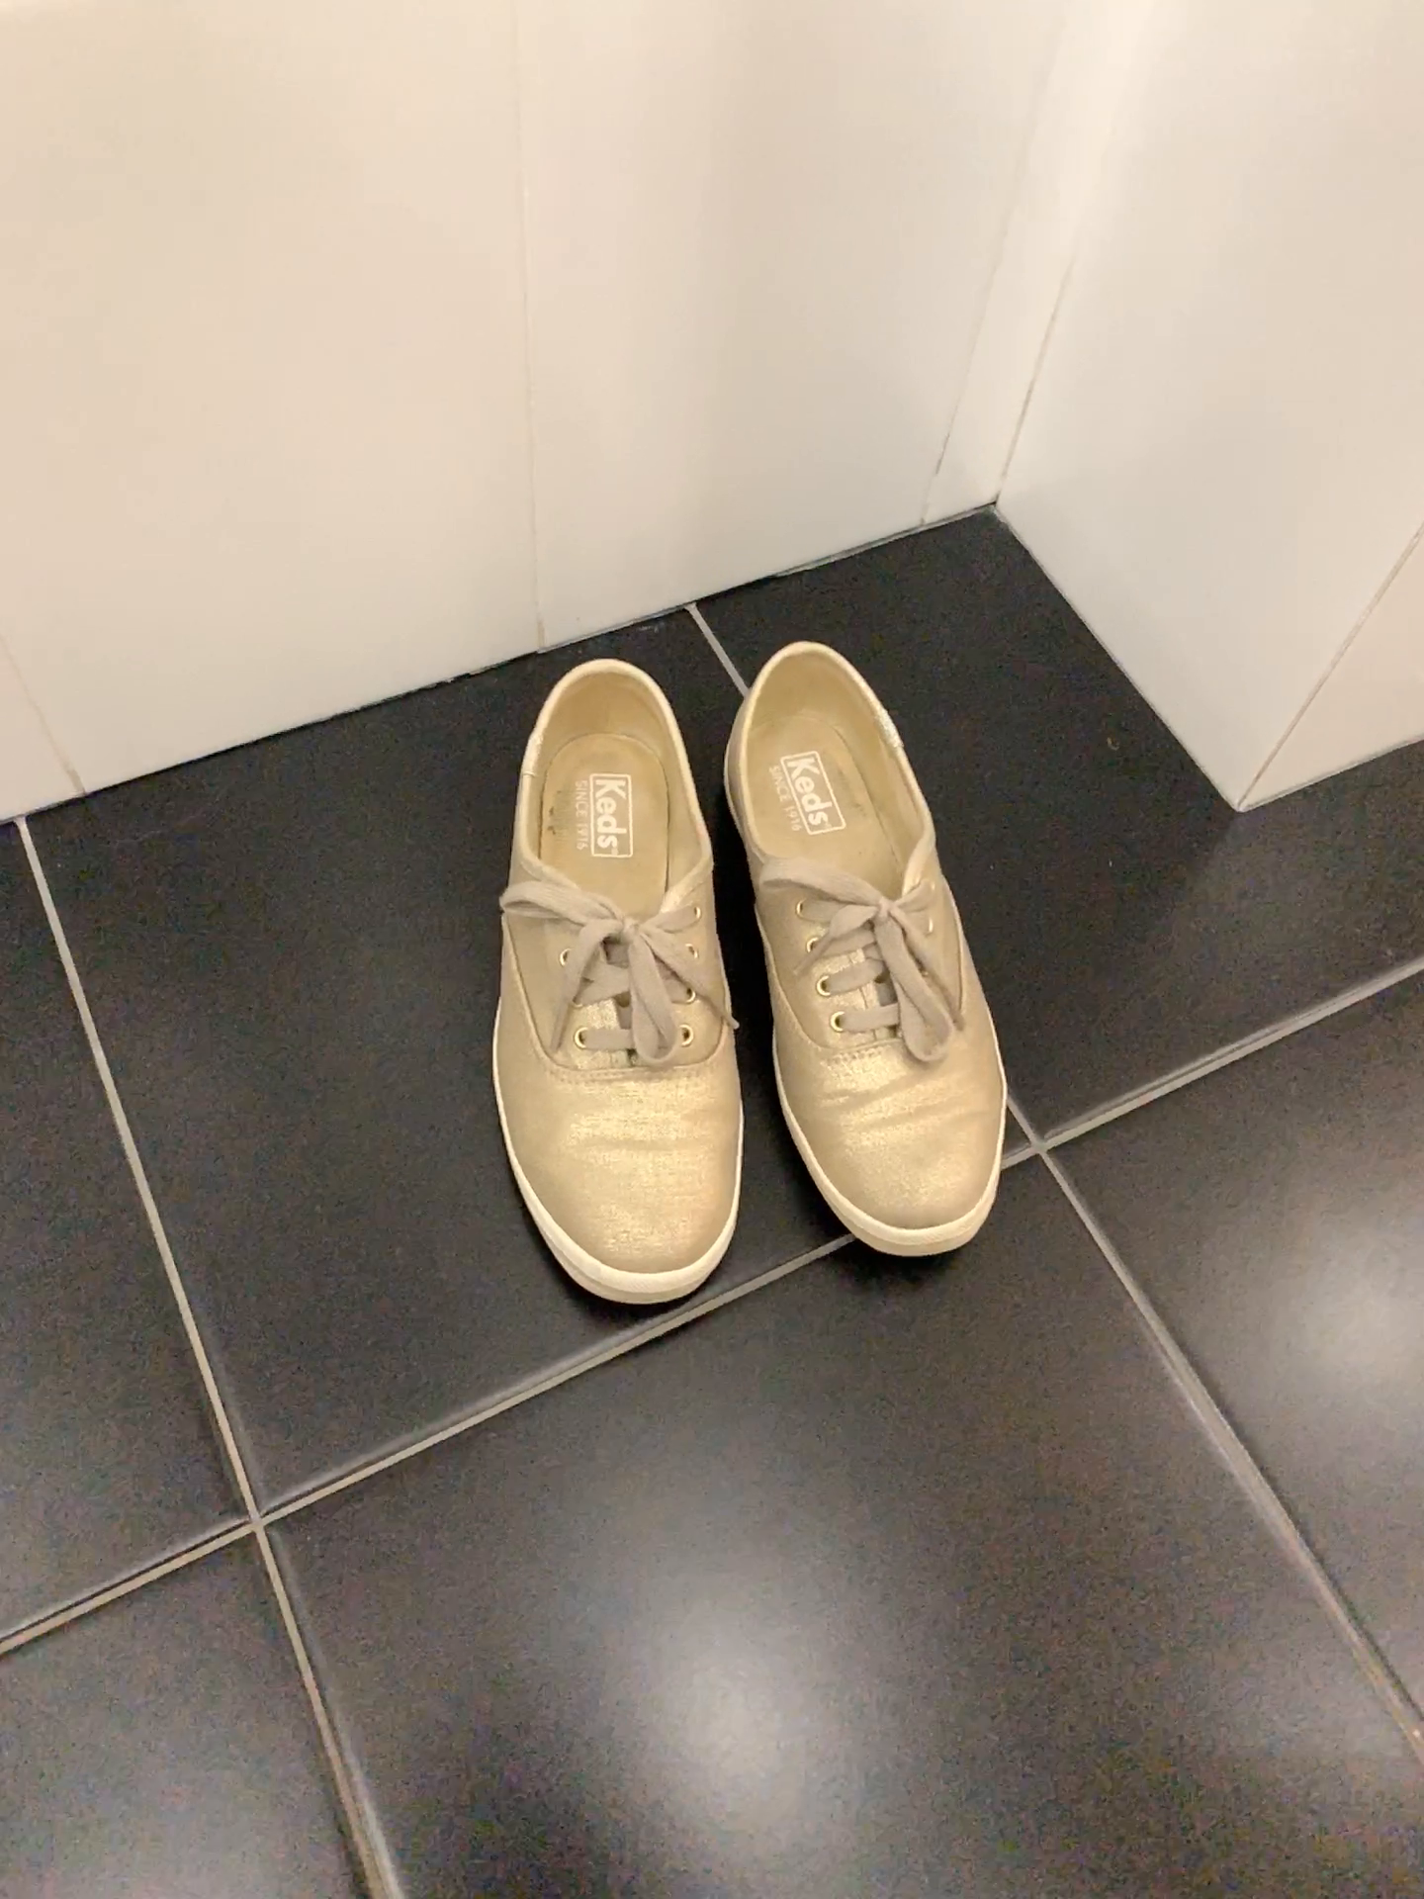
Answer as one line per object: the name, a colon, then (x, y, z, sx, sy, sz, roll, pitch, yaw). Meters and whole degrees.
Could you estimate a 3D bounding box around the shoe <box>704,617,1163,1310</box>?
shoe: (0.068, 0.000, 0.544, 0.090, 0.100, 0.231, -7, 60, -10)

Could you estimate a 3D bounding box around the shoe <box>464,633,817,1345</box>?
shoe: (-0.034, 0.009, 0.525, 0.090, 0.100, 0.231, -4, 59, -9)
